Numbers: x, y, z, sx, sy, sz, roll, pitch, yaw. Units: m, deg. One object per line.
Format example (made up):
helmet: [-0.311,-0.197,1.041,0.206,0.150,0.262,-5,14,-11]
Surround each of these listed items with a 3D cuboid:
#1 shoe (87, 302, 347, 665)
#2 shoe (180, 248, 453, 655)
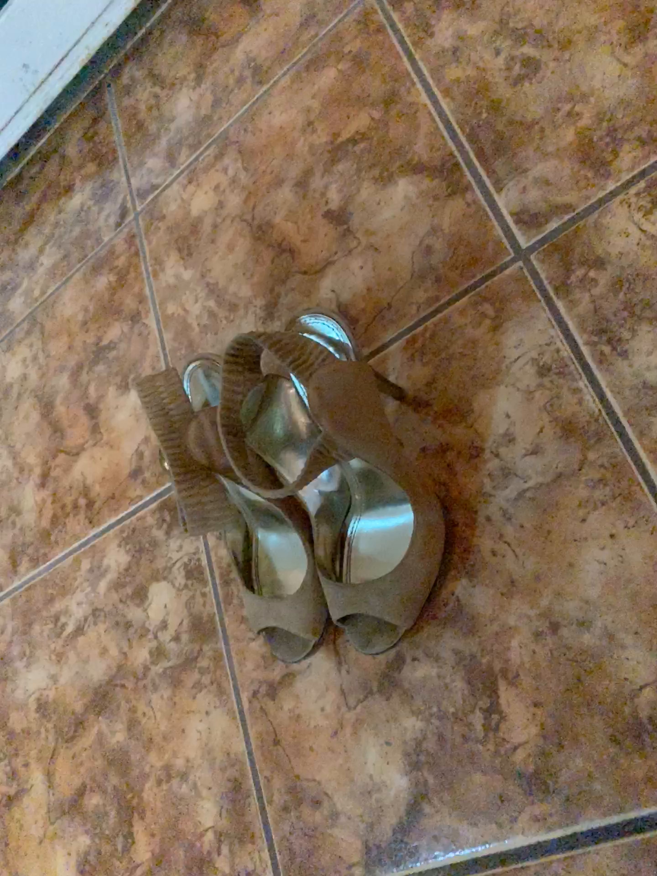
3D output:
shoe: [-0.064,0.041,0.457,0.081,0.140,0.209,-9,70,35]
shoe: [0.005,0.022,0.408,0.081,0.150,0.205,-9,70,35]
